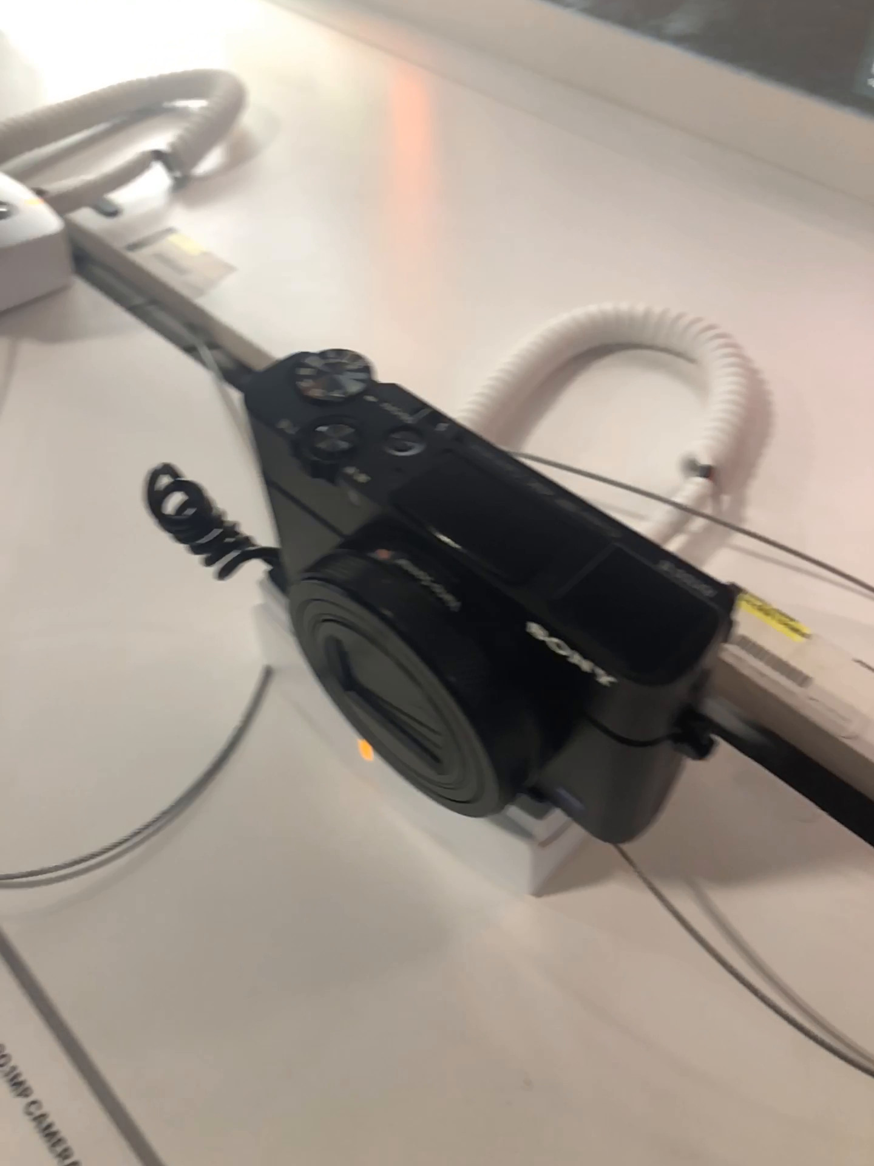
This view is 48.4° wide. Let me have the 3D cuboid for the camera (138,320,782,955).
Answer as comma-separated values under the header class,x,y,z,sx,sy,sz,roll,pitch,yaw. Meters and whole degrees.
class,x,y,z,sx,sy,sz,roll,pitch,yaw
camera,-0.002,0.006,0.183,0.109,0.060,0.040,36,57,27
